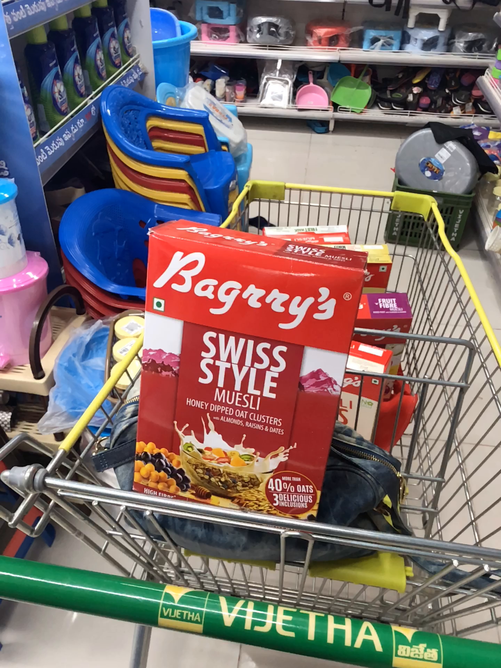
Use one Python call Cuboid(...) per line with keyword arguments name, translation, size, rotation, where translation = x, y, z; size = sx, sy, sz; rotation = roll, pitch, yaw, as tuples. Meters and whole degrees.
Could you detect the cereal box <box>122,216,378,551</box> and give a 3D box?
Cuboid(name="cereal box", translation=(-0.007, 0.041, 0.501), size=(0.190, 0.259, 0.070), rotation=(11, 19, 13))
